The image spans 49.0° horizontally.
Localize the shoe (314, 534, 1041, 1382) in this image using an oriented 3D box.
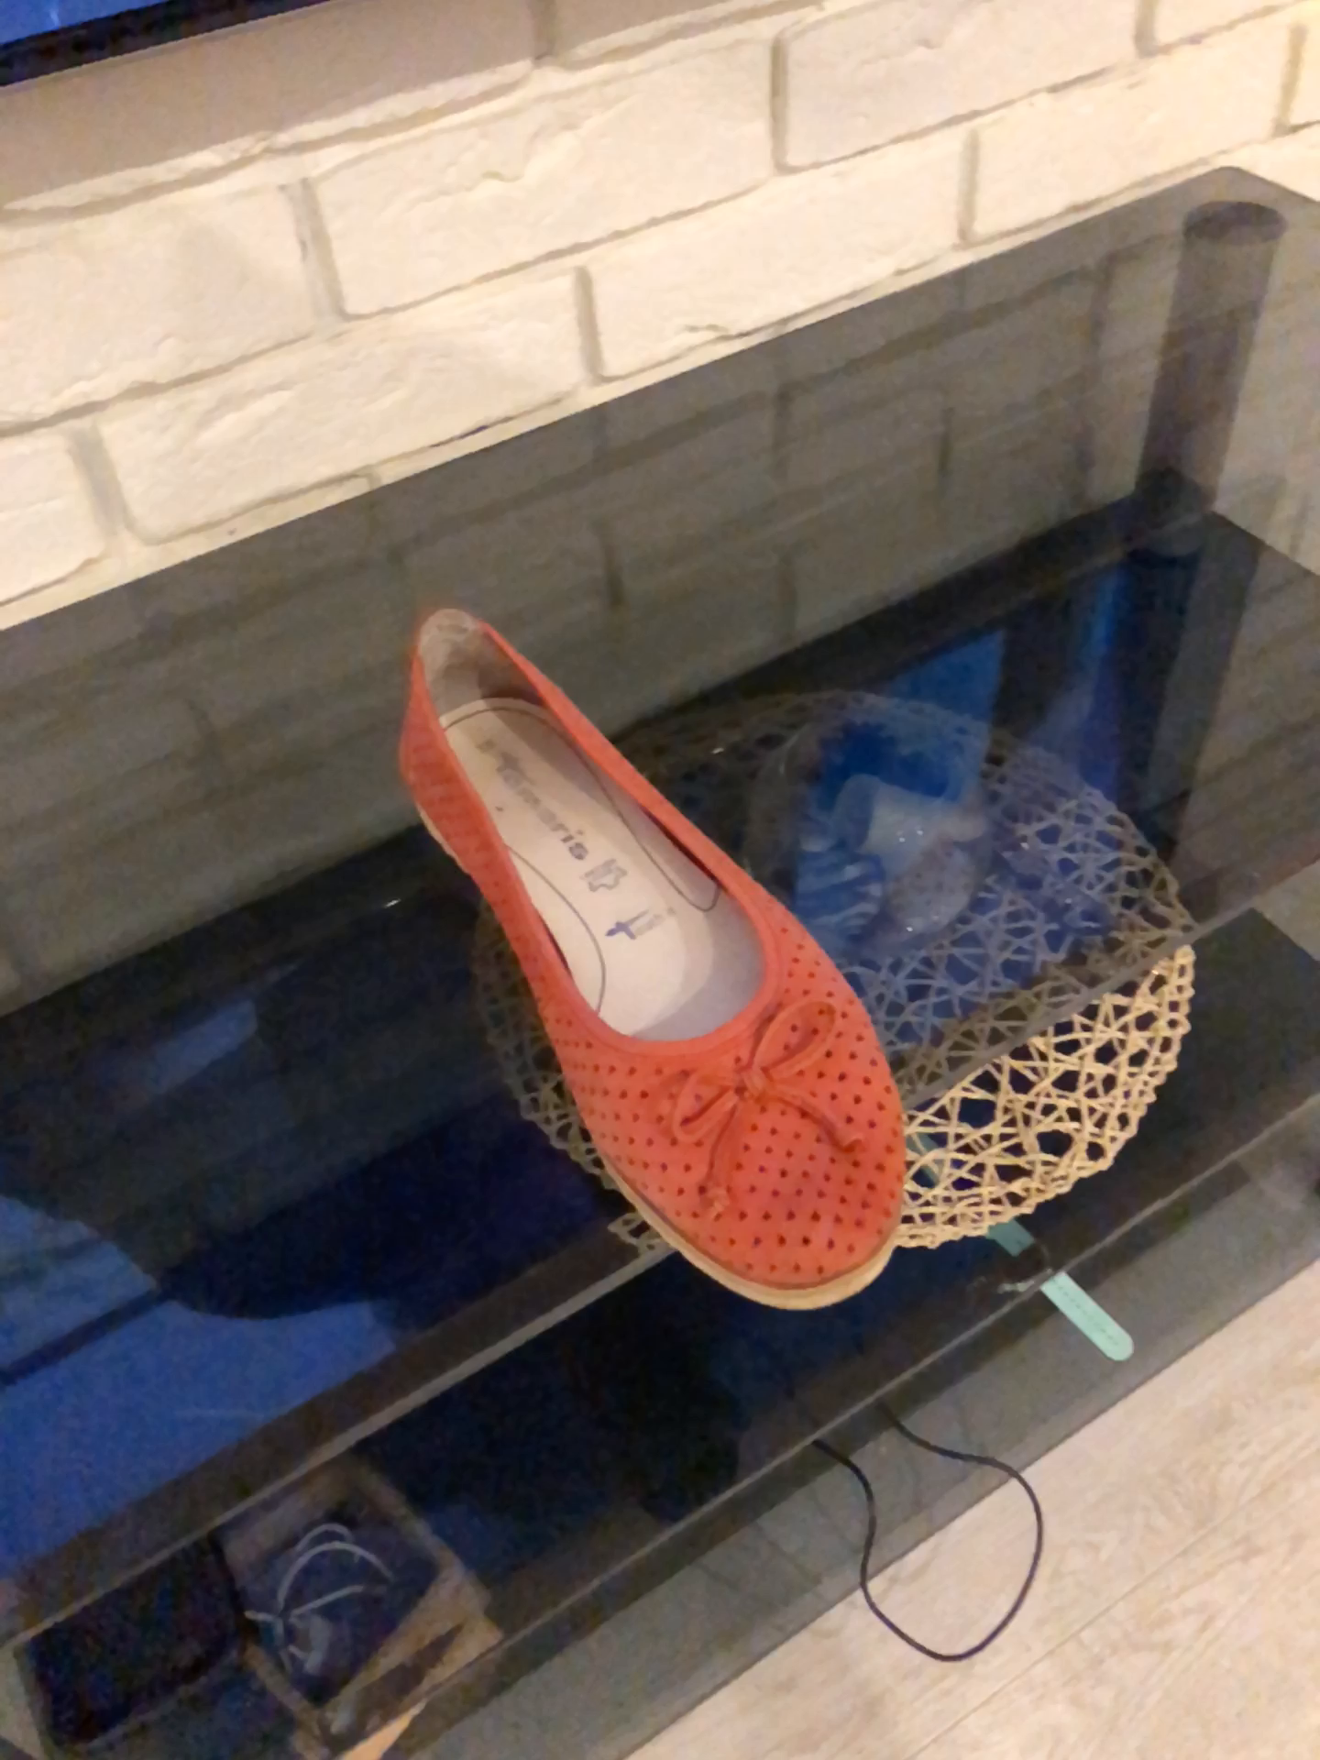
[{"bbox_3d":[-0.008,0.005,0.427,0.090,0.079,0.248,-25,50,-16],"label":"shoe"}]
